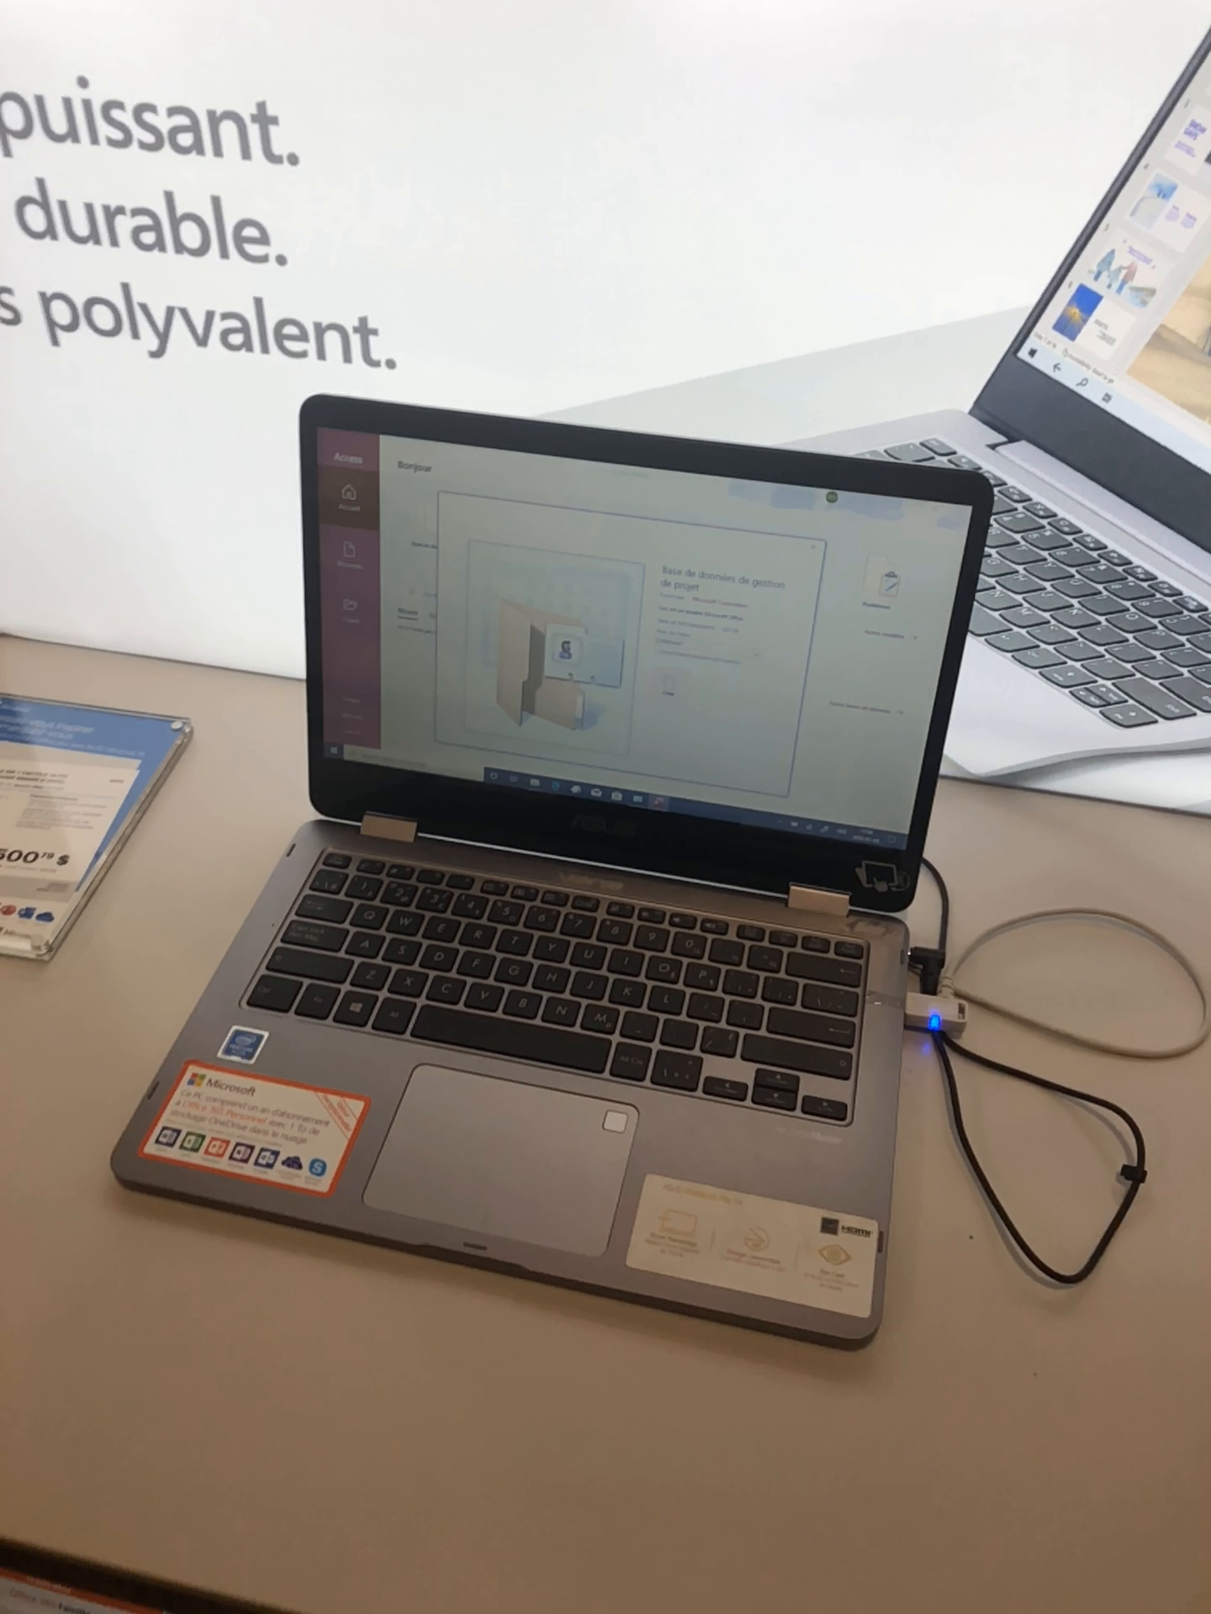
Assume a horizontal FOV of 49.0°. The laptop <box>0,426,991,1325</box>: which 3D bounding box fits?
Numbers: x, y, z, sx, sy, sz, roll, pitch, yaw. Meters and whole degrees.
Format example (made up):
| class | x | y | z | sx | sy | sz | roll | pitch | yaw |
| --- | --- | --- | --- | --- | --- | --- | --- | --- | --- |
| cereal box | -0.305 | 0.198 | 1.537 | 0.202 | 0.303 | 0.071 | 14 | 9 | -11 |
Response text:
| class | x | y | z | sx | sy | sz | roll | pitch | yaw |
| --- | --- | --- | --- | --- | --- | --- | --- | --- | --- |
| laptop | -0.020 | 0.012 | 0.565 | 0.311 | 0.214 | 0.273 | 9 | 42 | 9 |
